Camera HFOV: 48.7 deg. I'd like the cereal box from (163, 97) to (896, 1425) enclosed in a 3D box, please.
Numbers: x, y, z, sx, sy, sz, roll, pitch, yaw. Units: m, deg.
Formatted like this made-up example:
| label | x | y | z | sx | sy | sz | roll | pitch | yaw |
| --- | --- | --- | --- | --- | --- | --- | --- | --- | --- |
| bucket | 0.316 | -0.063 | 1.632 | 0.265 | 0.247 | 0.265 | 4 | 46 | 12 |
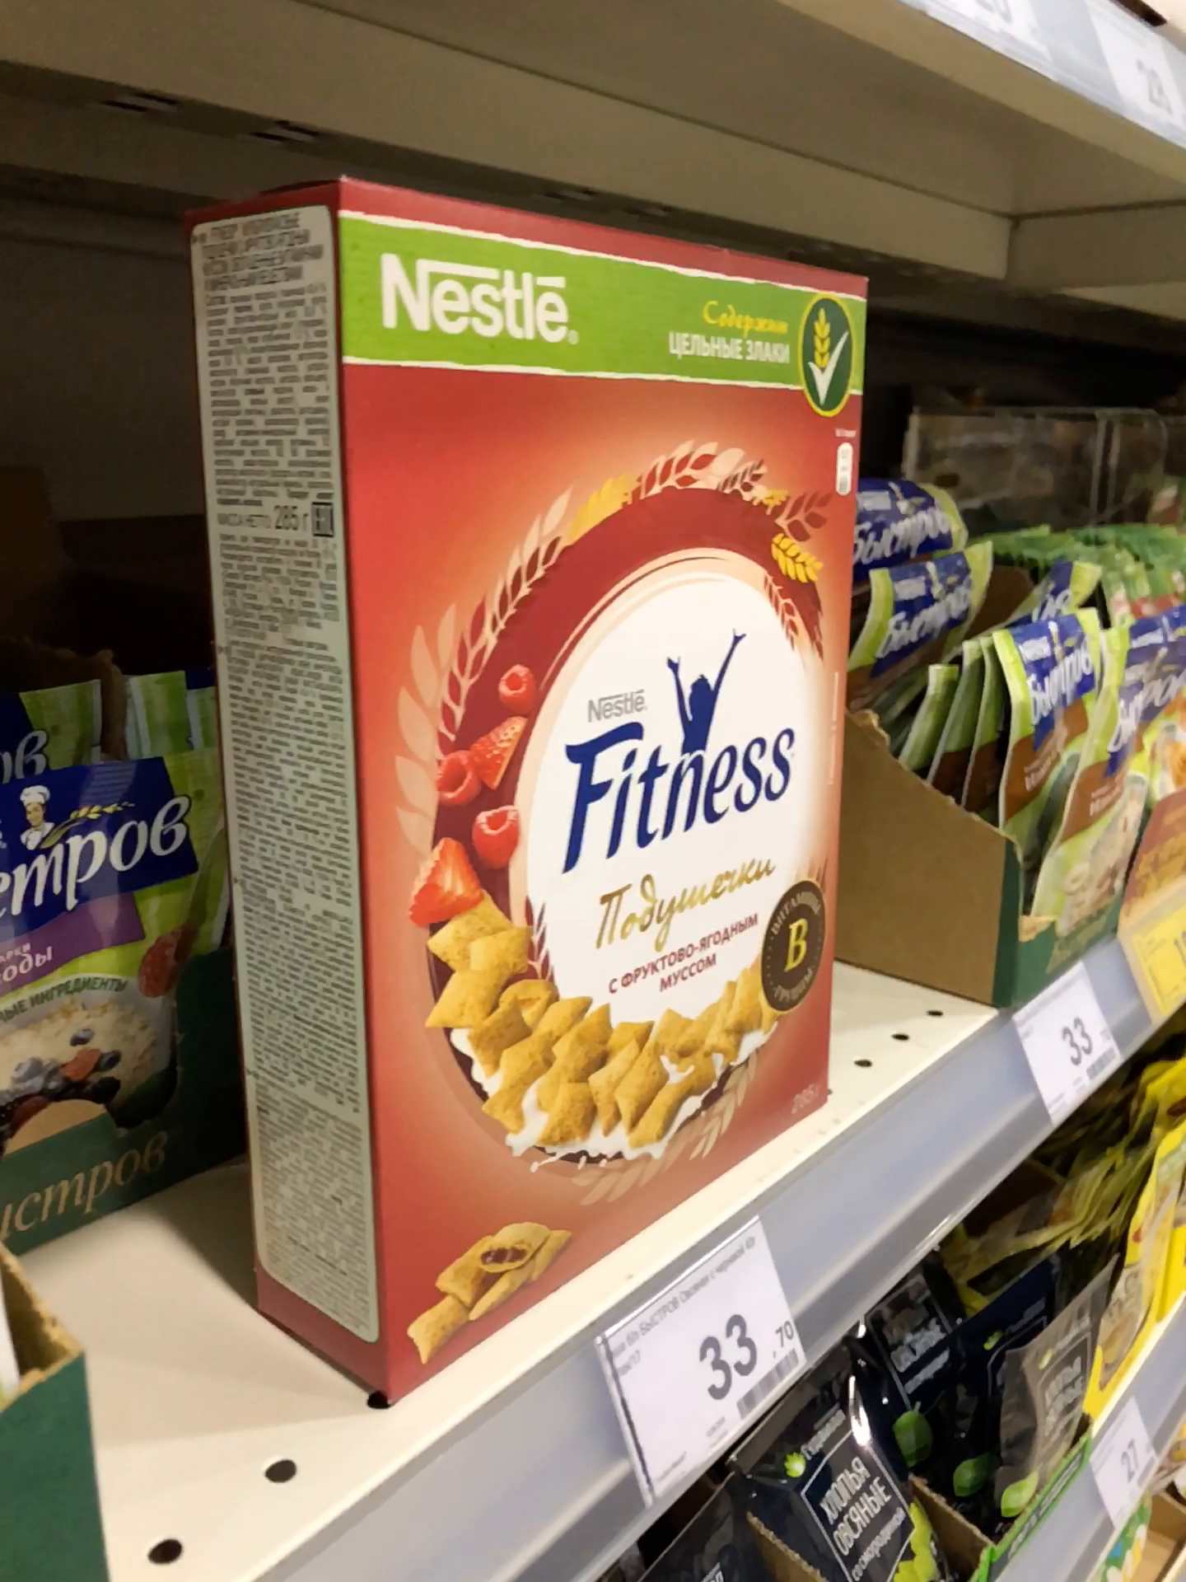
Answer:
| label | x | y | z | sx | sy | sz | roll | pitch | yaw |
| --- | --- | --- | --- | --- | --- | --- | --- | --- | --- |
| cereal box | 0.000 | -0.012 | 0.313 | 0.050 | 0.239 | 0.181 | 12 | 18 | 38 |
